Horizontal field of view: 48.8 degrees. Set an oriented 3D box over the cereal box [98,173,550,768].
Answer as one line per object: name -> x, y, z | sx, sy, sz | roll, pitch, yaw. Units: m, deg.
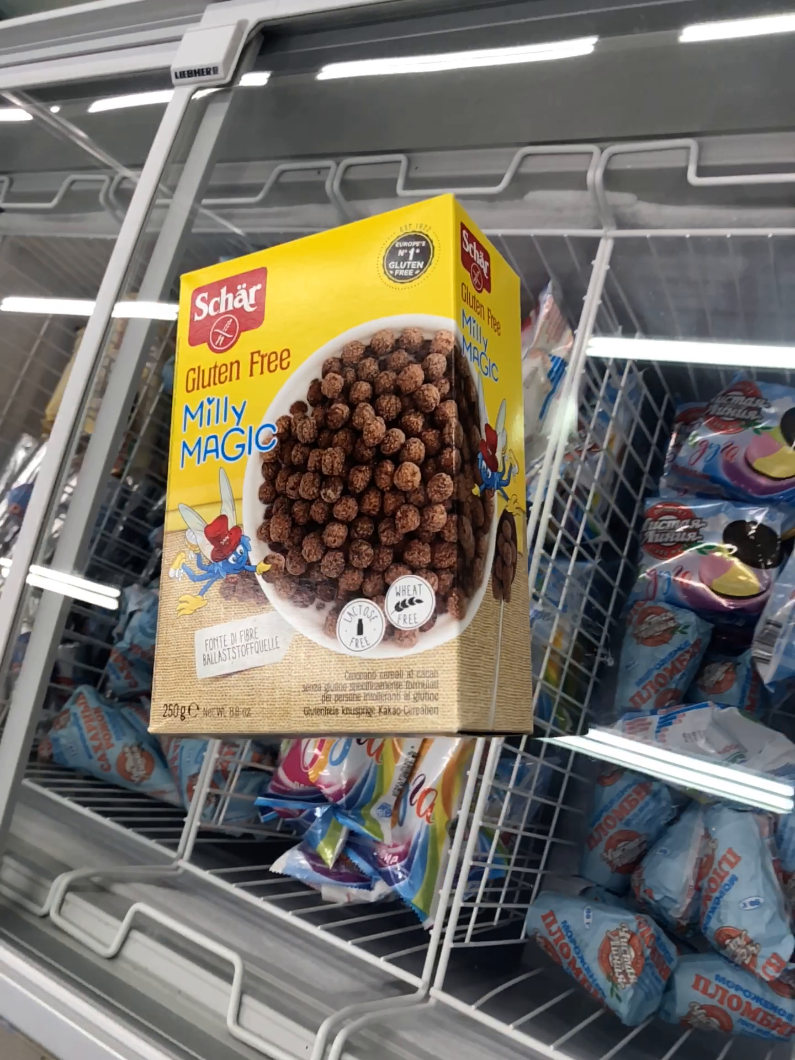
cereal box -> -0.032, -0.013, 0.378 | 0.171, 0.070, 0.220 | -8, 73, 28
